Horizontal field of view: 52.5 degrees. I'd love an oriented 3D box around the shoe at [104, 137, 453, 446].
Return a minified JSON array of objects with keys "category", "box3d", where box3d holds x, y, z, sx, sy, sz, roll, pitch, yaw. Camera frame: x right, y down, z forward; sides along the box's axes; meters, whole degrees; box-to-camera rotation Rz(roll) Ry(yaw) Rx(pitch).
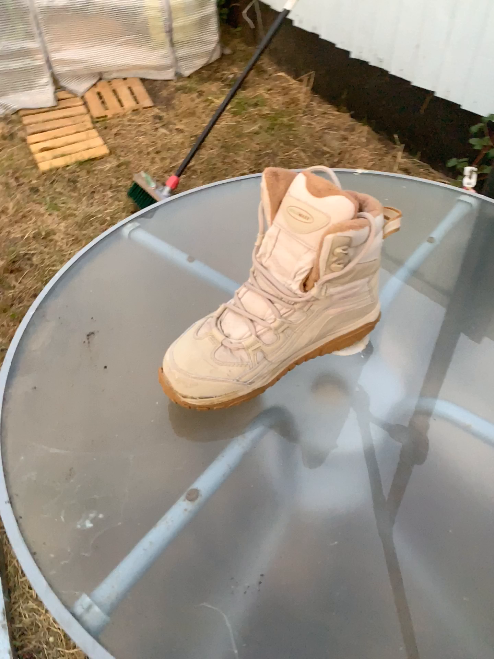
[{"category":"shoe","box3d":[0.032,-0.041,0.507,0.280,0.198,0.121,-22,49,-17]}]
